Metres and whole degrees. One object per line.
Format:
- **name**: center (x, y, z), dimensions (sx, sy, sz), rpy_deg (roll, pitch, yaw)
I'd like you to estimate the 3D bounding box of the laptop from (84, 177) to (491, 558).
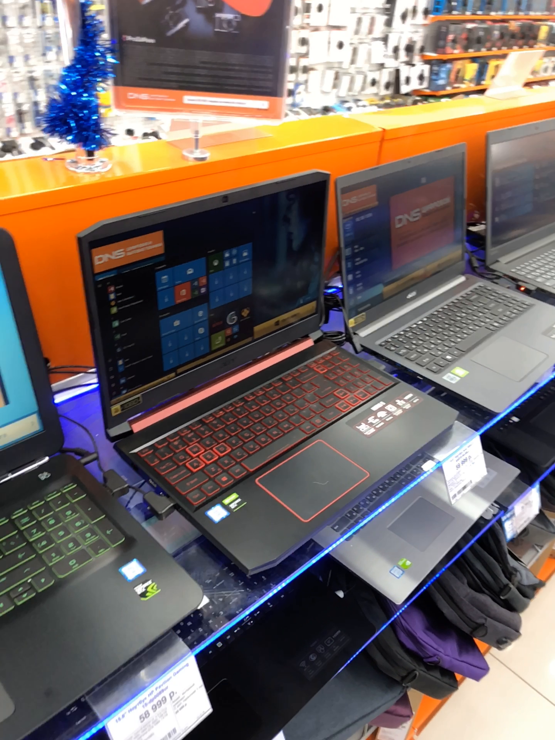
- **laptop**: center (0.013, -0.037, 0.670), dimensions (0.251, 0.231, 0.329), rpy_deg (31, 41, 33)
